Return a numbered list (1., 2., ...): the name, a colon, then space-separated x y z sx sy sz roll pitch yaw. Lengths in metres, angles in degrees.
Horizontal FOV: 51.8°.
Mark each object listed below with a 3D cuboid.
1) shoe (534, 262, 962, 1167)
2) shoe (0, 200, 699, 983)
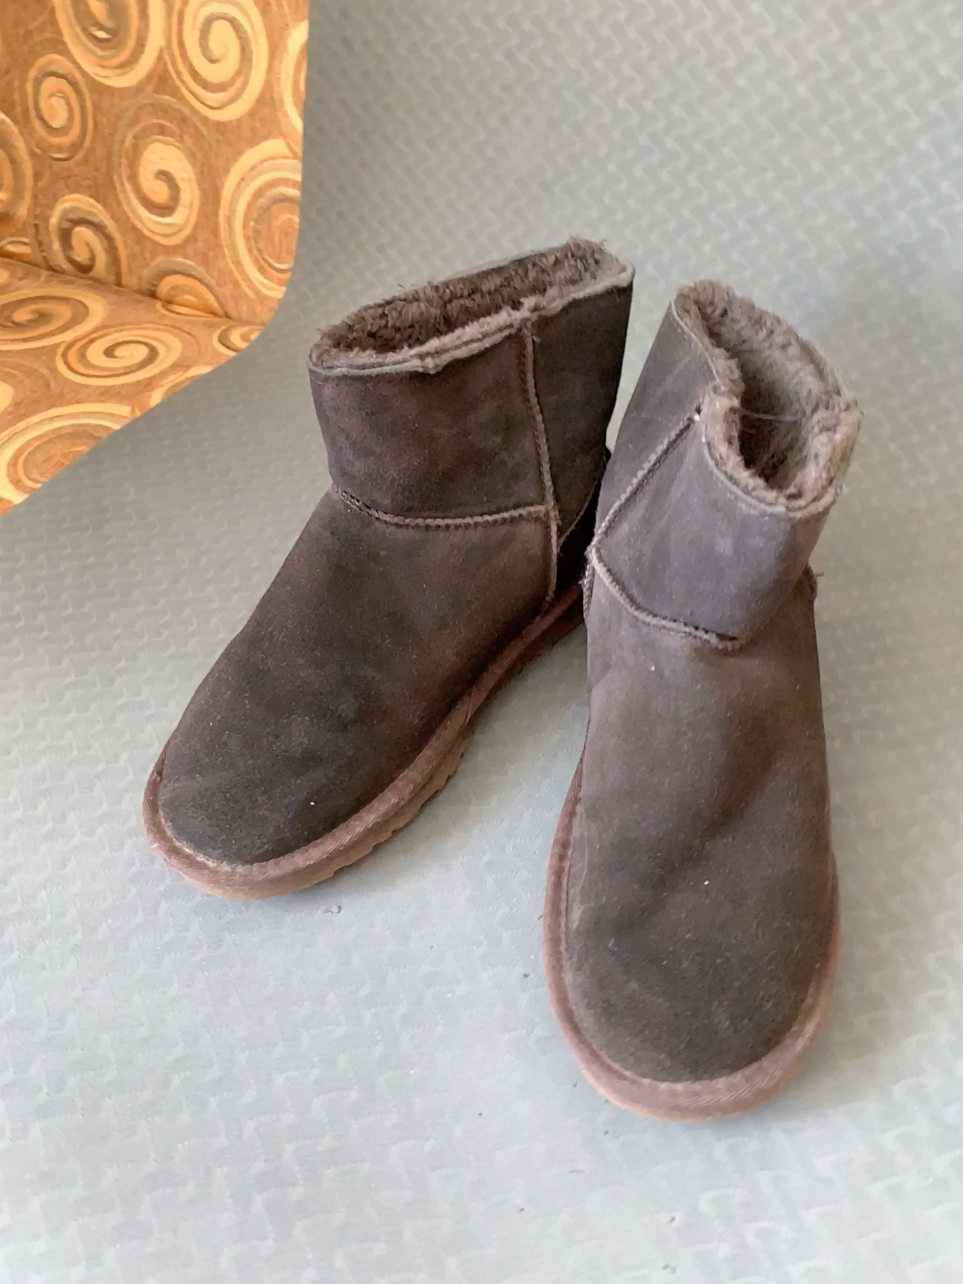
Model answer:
1. shoe: 0.080 0.008 0.323 0.100 0.139 0.254 4 50 7
2. shoe: -0.033 -0.031 0.367 0.100 0.139 0.254 28 57 25
